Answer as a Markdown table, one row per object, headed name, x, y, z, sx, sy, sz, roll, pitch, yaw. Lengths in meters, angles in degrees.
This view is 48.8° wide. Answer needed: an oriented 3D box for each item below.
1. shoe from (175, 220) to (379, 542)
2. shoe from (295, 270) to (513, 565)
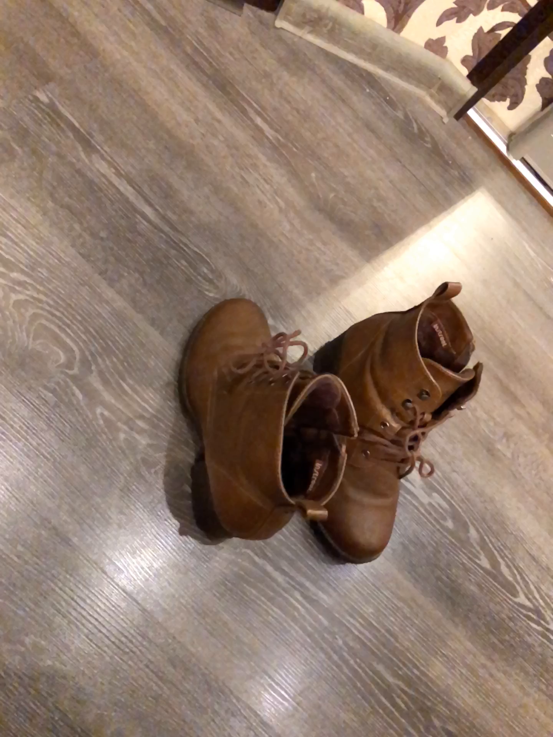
| name | x | y | z | sx | sy | sz | roll | pitch | yaw |
| --- | --- | --- | --- | --- | --- | --- | --- | --- | --- |
| shoe | -0.013 | 0.025 | 0.508 | 0.100 | 0.169 | 0.220 | 6 | 70 | -23 |
| shoe | 0.103 | 0.060 | 0.556 | 0.090 | 0.189 | 0.220 | 12 | 68 | -21 |
